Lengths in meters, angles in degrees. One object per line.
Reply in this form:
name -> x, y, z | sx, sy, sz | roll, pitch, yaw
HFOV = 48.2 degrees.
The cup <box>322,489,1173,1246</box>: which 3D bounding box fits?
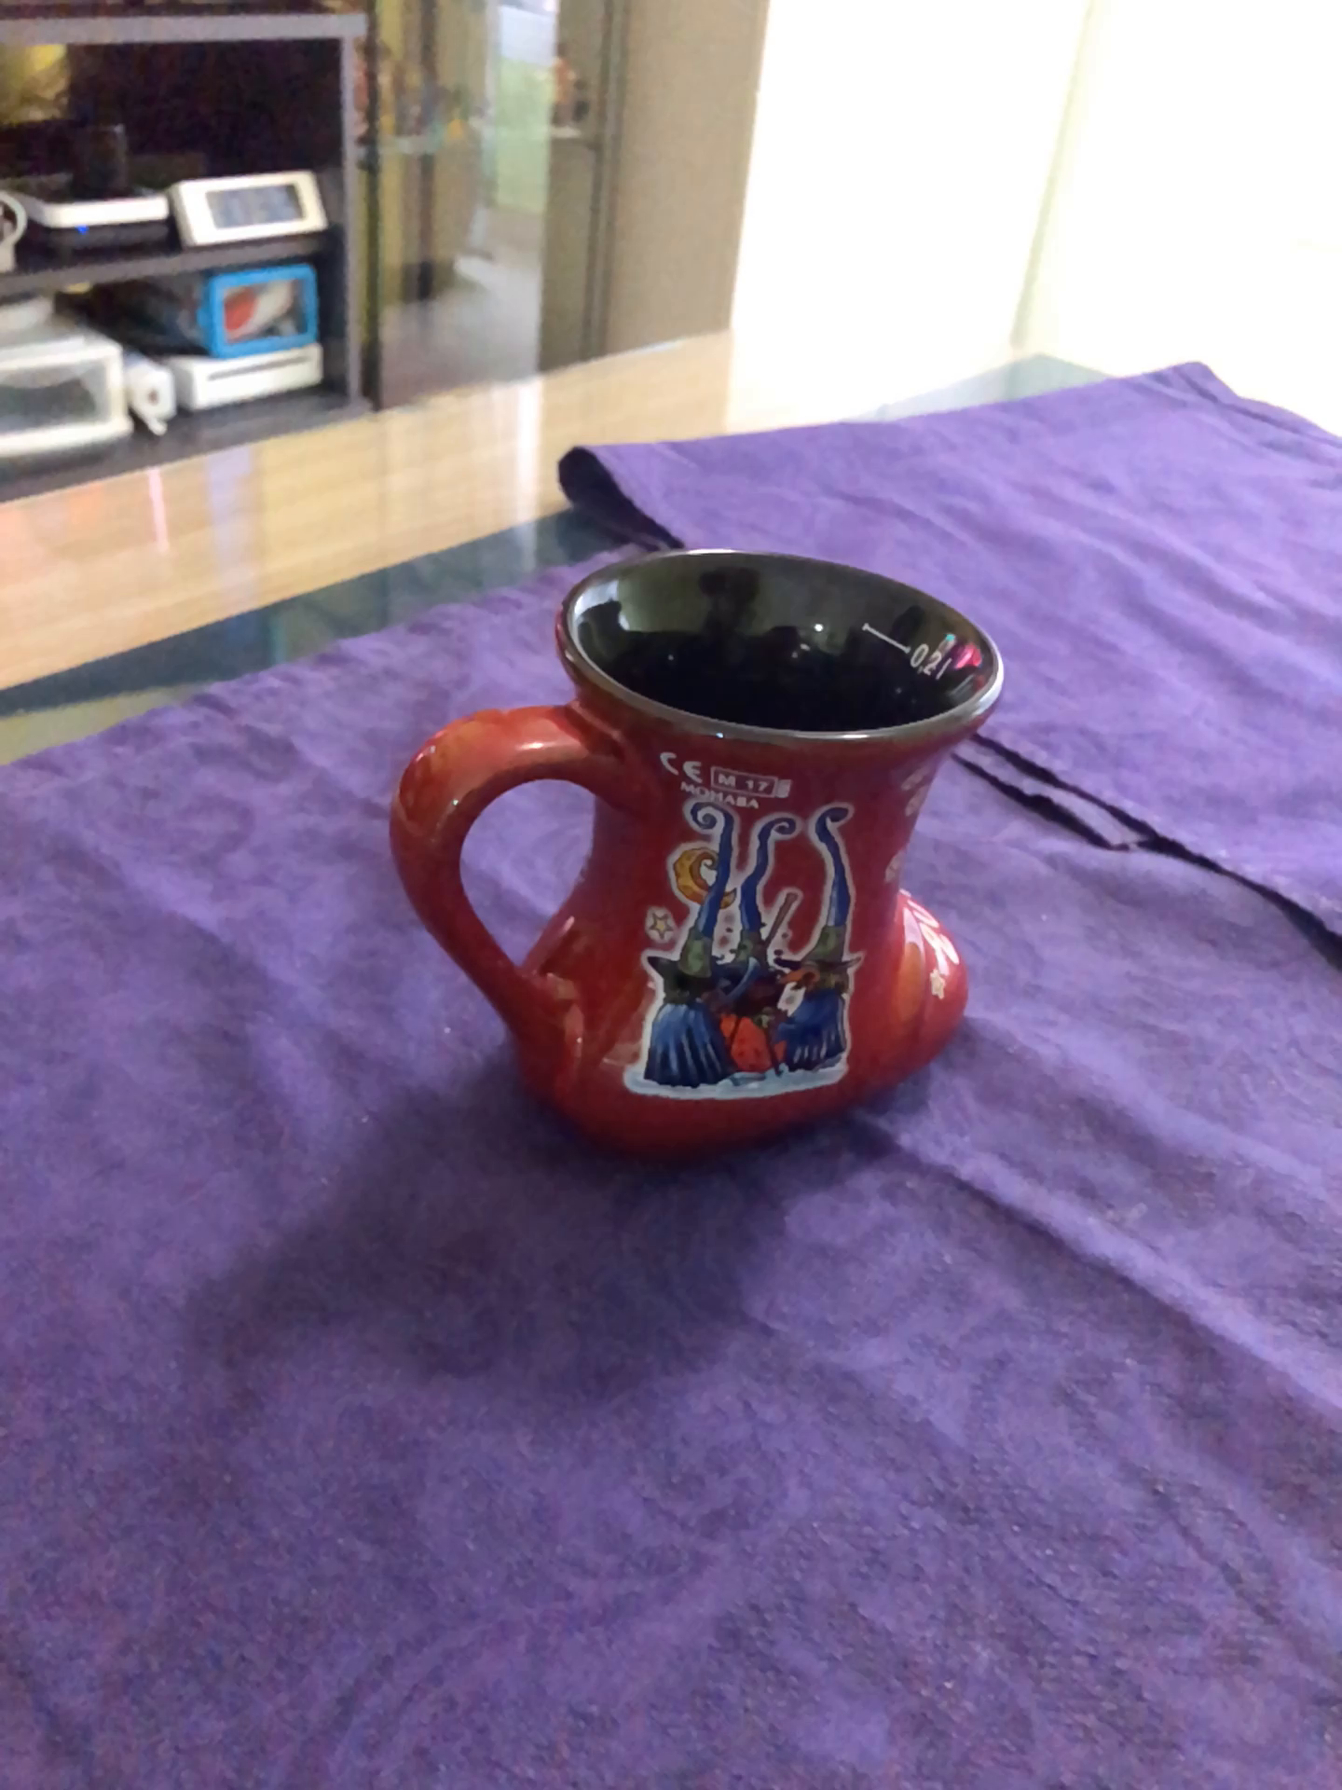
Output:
cup -> 0.009, -0.012, 0.268 | 0.120, 0.090, 0.070 | -14, 40, -28
